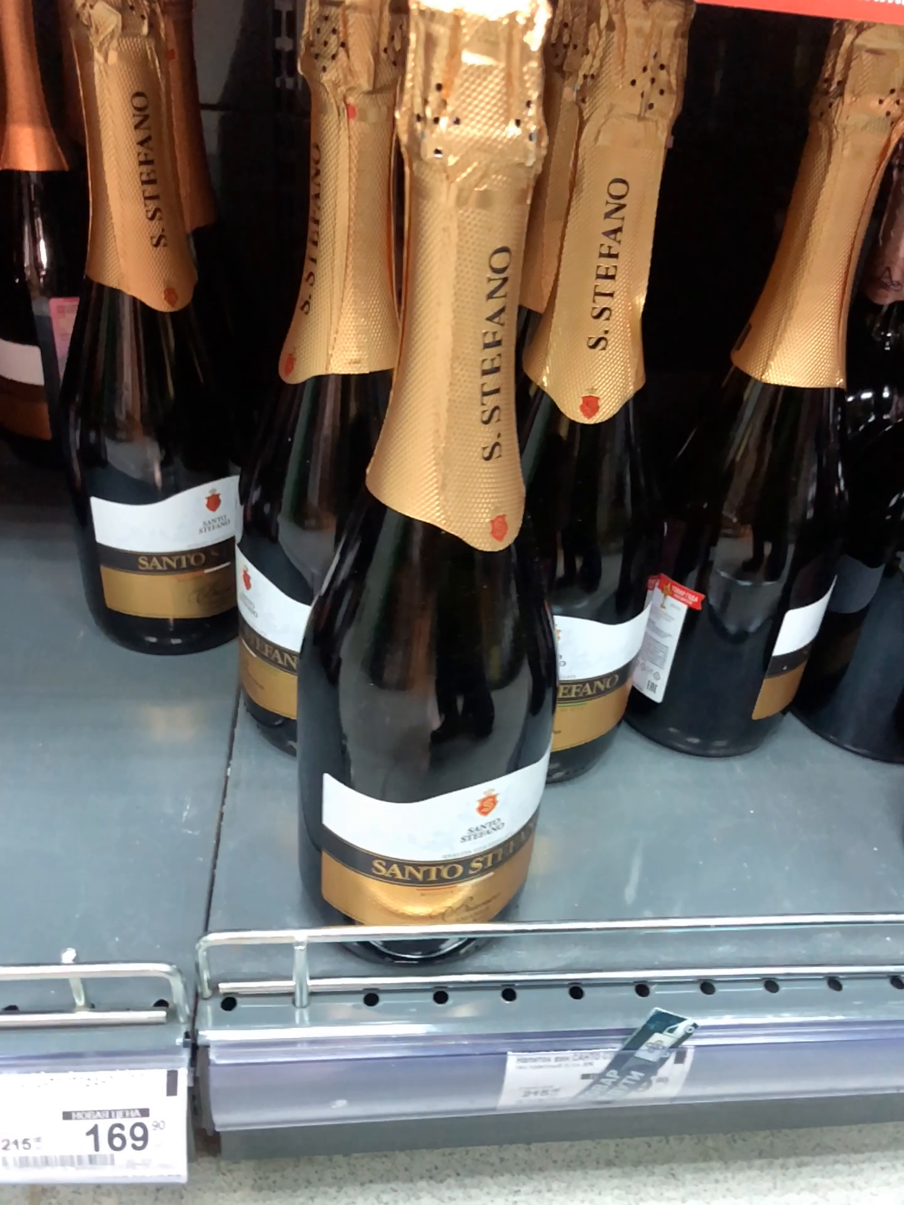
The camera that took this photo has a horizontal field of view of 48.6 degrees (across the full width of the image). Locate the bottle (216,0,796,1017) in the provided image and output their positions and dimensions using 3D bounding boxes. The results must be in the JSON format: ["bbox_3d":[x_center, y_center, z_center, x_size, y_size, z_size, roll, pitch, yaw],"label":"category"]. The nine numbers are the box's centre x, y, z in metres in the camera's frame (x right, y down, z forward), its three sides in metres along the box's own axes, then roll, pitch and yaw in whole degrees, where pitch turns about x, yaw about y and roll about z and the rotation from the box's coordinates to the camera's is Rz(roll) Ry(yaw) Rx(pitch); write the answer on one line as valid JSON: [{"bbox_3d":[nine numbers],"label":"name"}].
[{"bbox_3d":[-0.003,-0.018,0.309,0.100,0.298,0.090,-13,38,-26],"label":"bottle"}]
